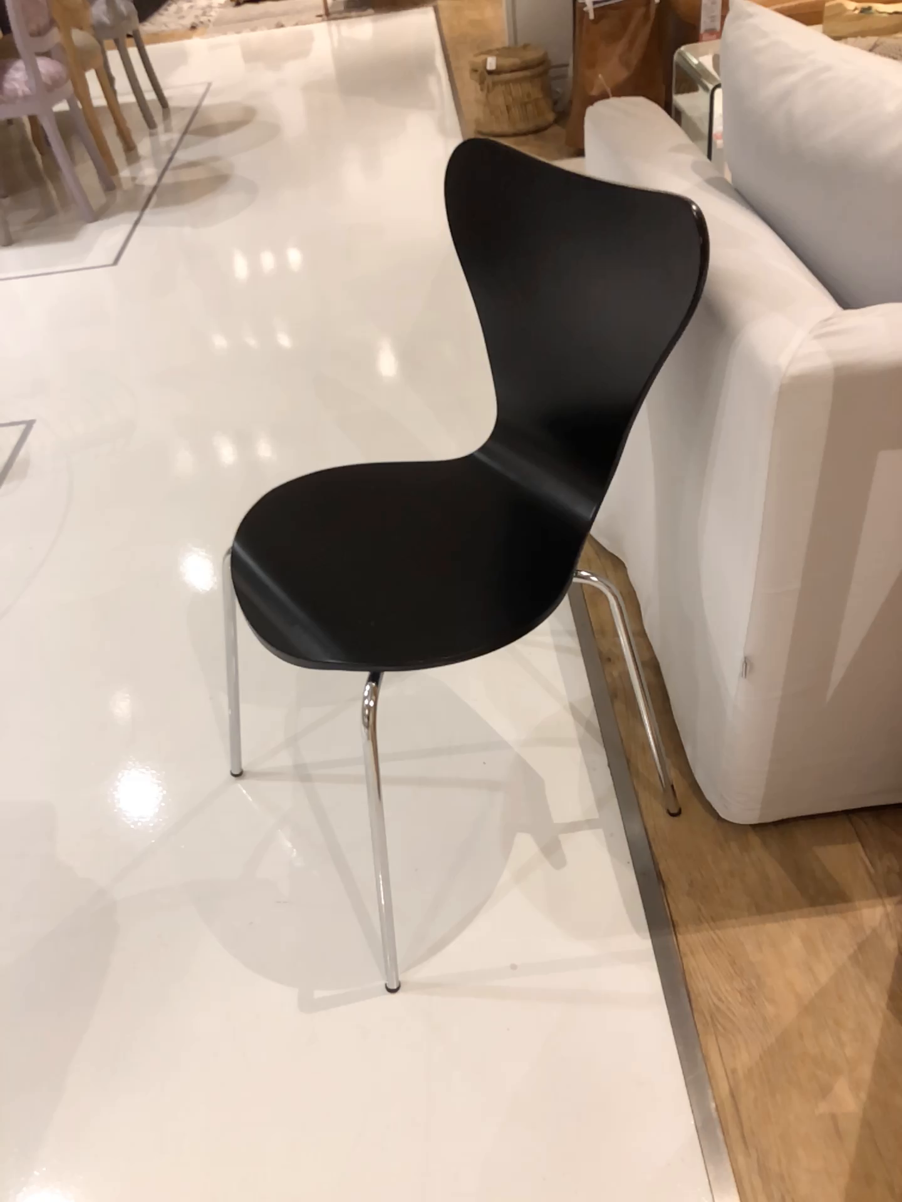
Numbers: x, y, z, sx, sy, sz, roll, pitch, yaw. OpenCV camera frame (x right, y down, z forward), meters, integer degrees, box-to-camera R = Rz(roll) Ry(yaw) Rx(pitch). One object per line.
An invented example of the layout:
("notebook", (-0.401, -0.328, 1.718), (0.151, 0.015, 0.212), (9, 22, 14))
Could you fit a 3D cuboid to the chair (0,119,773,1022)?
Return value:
("chair", (-0.050, -0.055, 1.197), (0.551, 0.774, 0.543), (-28, 44, -22))
